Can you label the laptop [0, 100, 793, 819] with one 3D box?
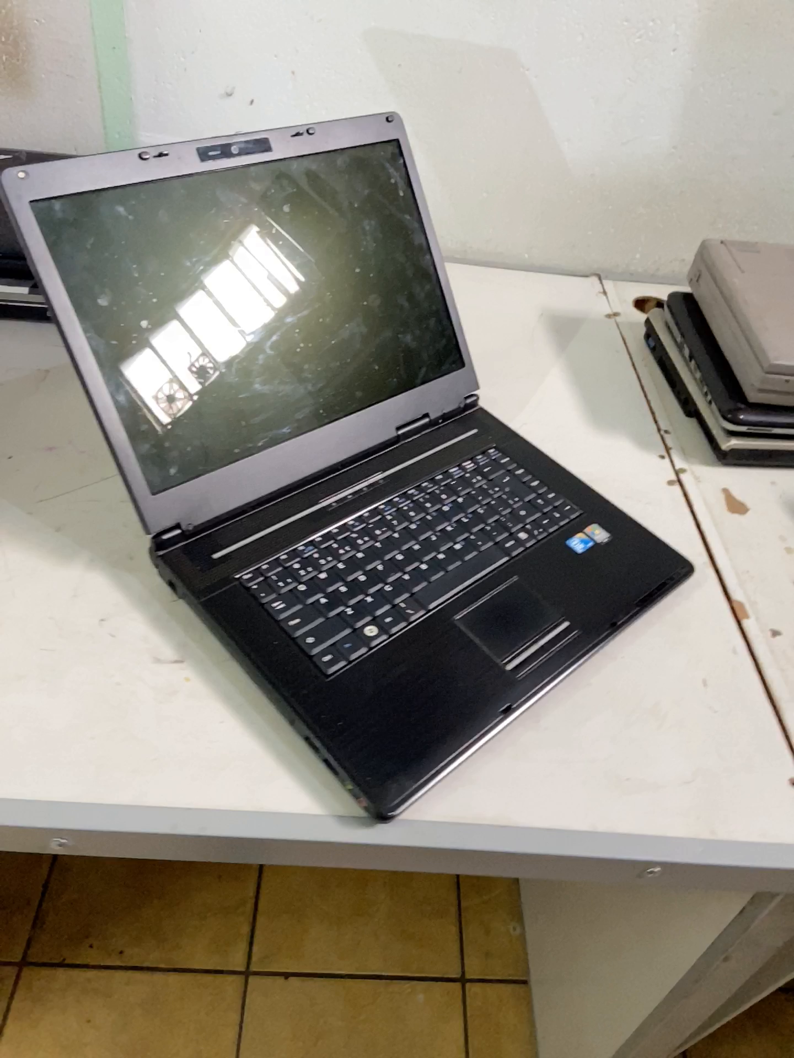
[{"bbox_3d":[-0.007,-0.104,0.607,0.352,0.224,0.430,-28,56,-33],"label":"laptop"}]
